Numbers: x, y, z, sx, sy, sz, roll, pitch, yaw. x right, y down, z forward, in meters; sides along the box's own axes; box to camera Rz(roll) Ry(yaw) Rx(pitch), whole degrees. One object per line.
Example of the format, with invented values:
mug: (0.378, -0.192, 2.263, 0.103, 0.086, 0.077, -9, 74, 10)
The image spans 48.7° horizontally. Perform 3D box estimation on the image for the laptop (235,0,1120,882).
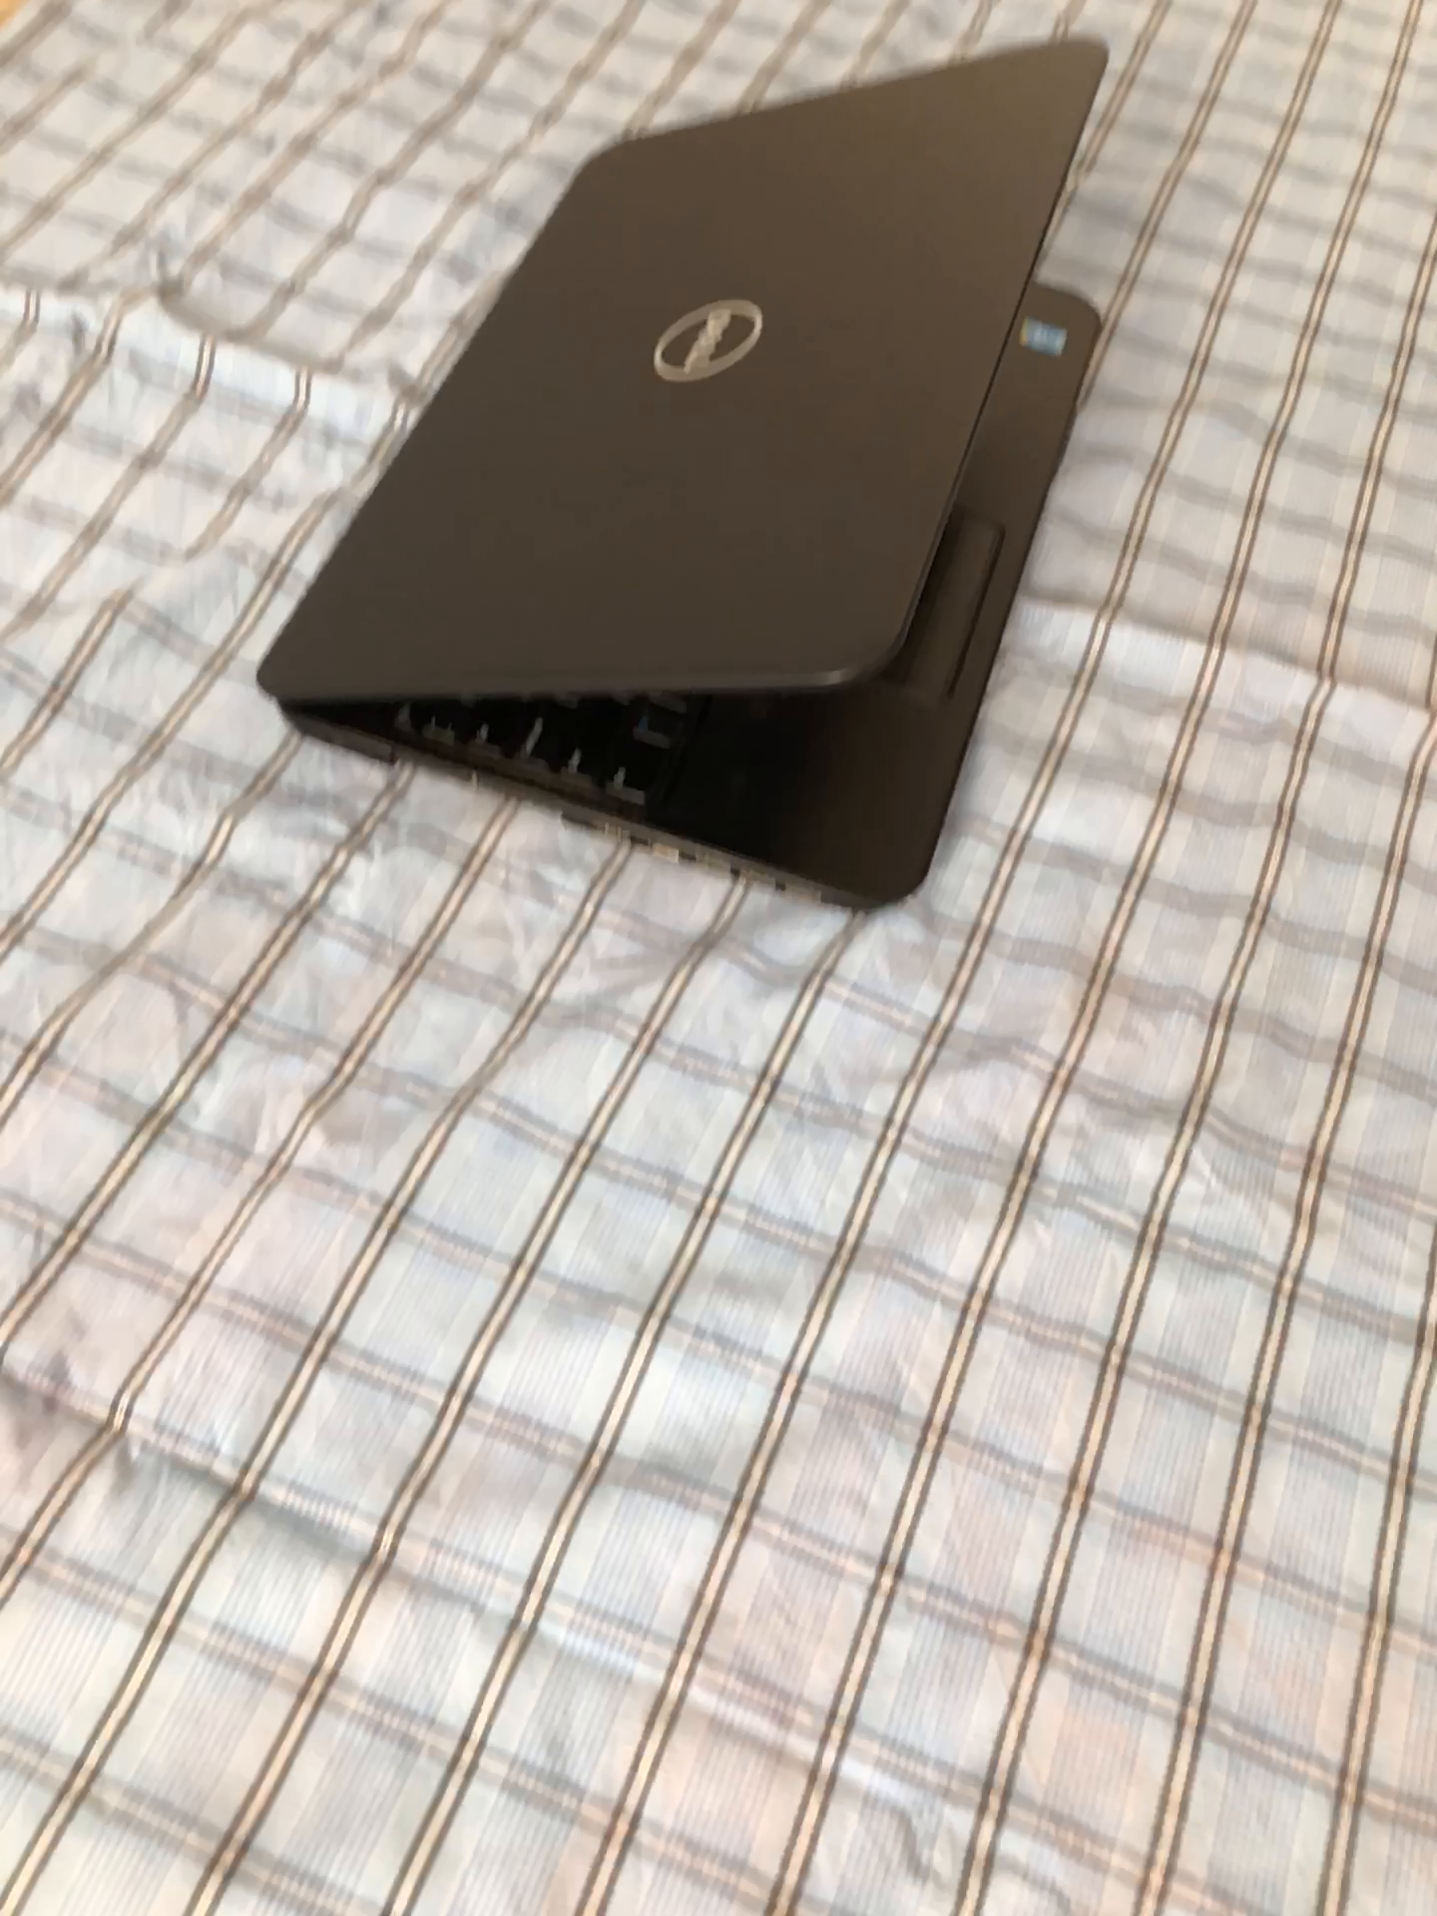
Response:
laptop: (0.006, -0.229, 0.611, 0.223, 0.099, 0.352, 17, 59, 5)
